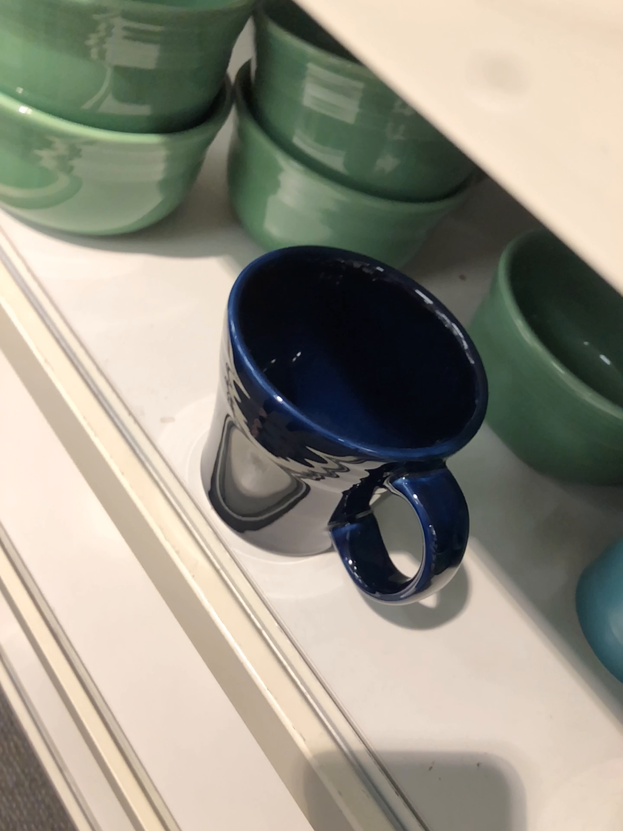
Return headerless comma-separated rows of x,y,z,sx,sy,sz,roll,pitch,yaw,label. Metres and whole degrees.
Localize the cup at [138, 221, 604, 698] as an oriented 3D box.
0.013,0.010,0.276,0.093,0.085,0.143,-23,64,-34,cup
